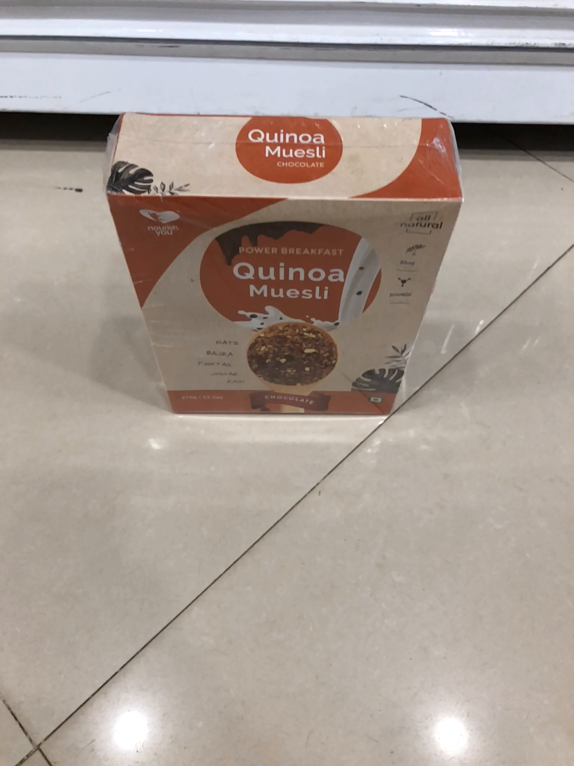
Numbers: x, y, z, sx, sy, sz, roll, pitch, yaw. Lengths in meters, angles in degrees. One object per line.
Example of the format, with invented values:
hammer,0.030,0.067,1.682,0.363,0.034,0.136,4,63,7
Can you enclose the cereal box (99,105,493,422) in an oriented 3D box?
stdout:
cereal box,0.001,-0.047,0.367,0.160,0.219,0.050,1,62,-2
